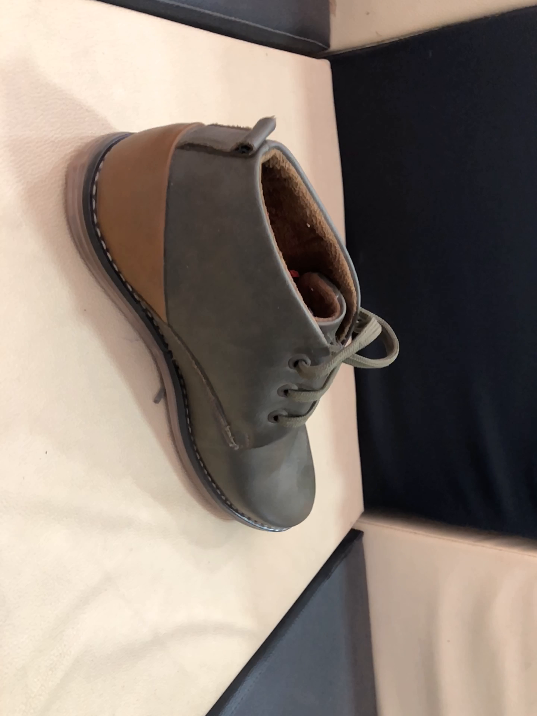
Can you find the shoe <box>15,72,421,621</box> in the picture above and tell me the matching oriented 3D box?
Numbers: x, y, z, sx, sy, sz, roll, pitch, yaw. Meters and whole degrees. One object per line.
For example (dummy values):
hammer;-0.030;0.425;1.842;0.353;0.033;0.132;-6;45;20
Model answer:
shoe;0.001;0.016;0.318;0.080;0.099;0.281;-56;138;-40
